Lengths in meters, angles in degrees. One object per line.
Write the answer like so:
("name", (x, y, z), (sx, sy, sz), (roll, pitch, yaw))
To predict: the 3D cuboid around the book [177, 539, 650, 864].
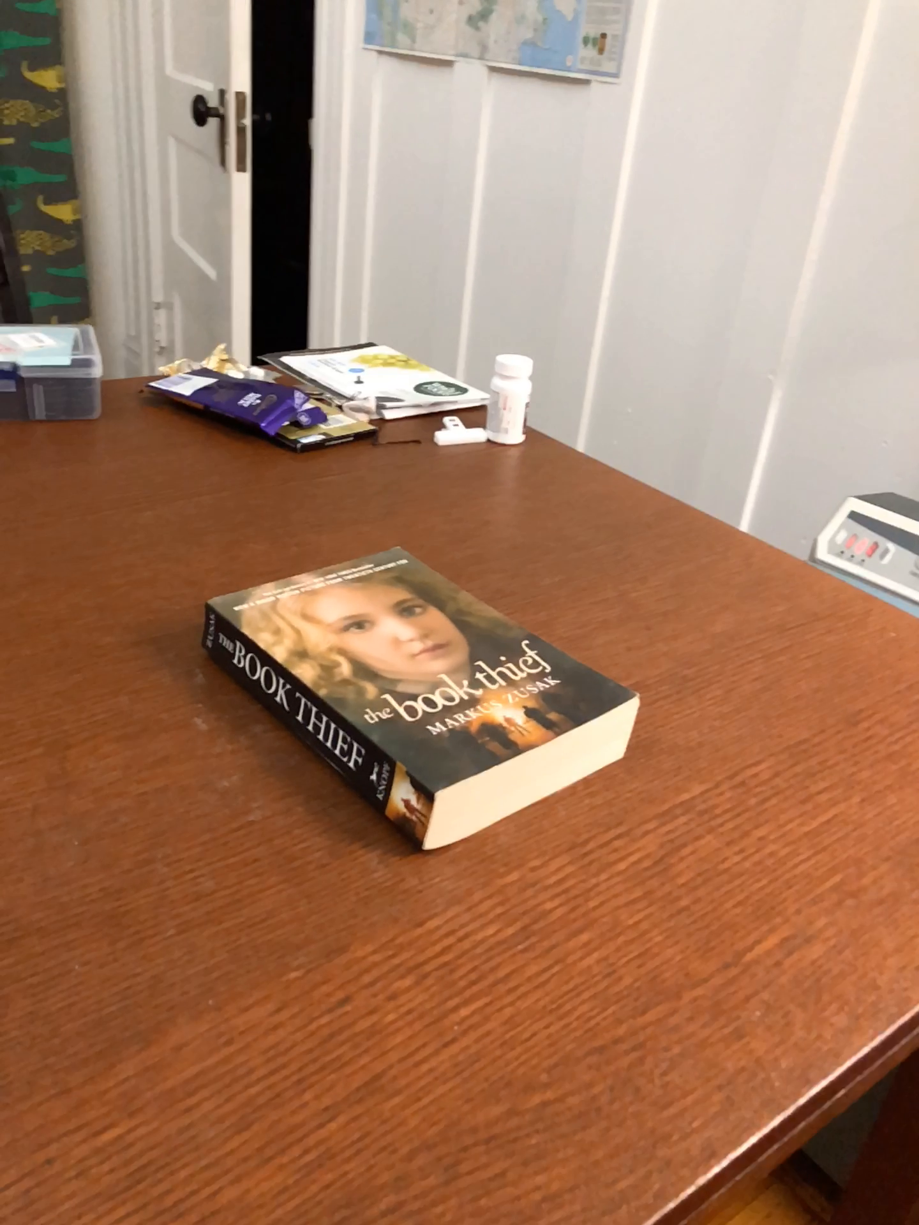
("book", (-0.032, 0.031, 0.548), (0.150, 0.030, 0.221), (-18, 37, -37))
